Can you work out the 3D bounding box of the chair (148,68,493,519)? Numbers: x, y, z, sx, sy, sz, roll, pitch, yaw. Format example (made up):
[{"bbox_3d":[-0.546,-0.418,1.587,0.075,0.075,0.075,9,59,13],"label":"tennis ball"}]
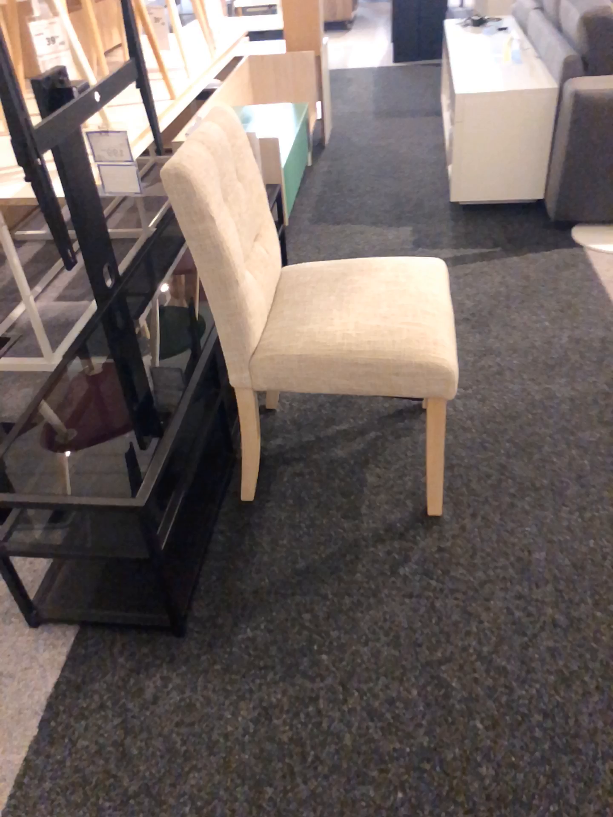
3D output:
[{"bbox_3d":[0.070,-0.251,1.551,0.560,0.855,0.553,0,37,7],"label":"chair"}]
